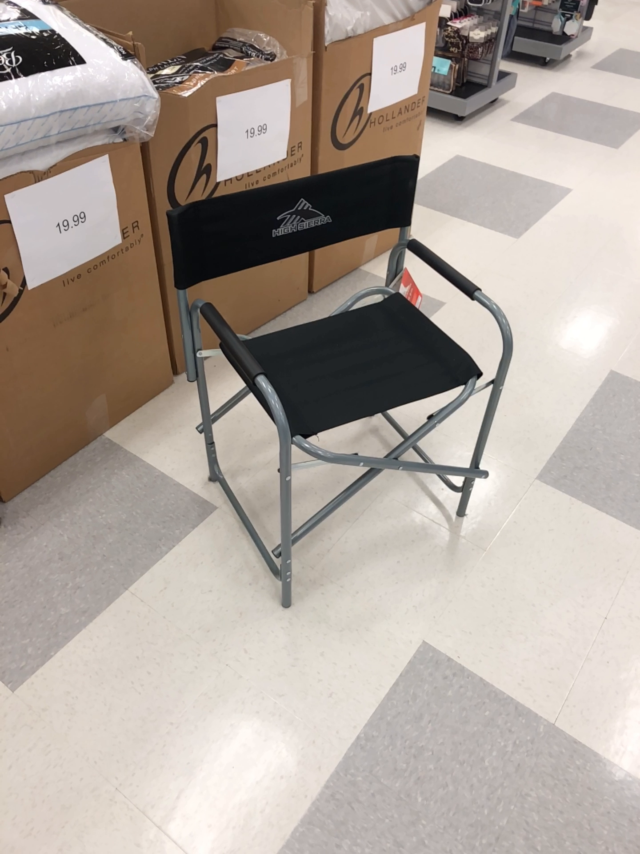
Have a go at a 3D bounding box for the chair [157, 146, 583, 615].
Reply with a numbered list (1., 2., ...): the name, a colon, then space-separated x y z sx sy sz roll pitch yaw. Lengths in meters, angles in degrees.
1. chair: 0.073 -0.113 1.554 0.626 0.736 0.499 -21 48 -23
